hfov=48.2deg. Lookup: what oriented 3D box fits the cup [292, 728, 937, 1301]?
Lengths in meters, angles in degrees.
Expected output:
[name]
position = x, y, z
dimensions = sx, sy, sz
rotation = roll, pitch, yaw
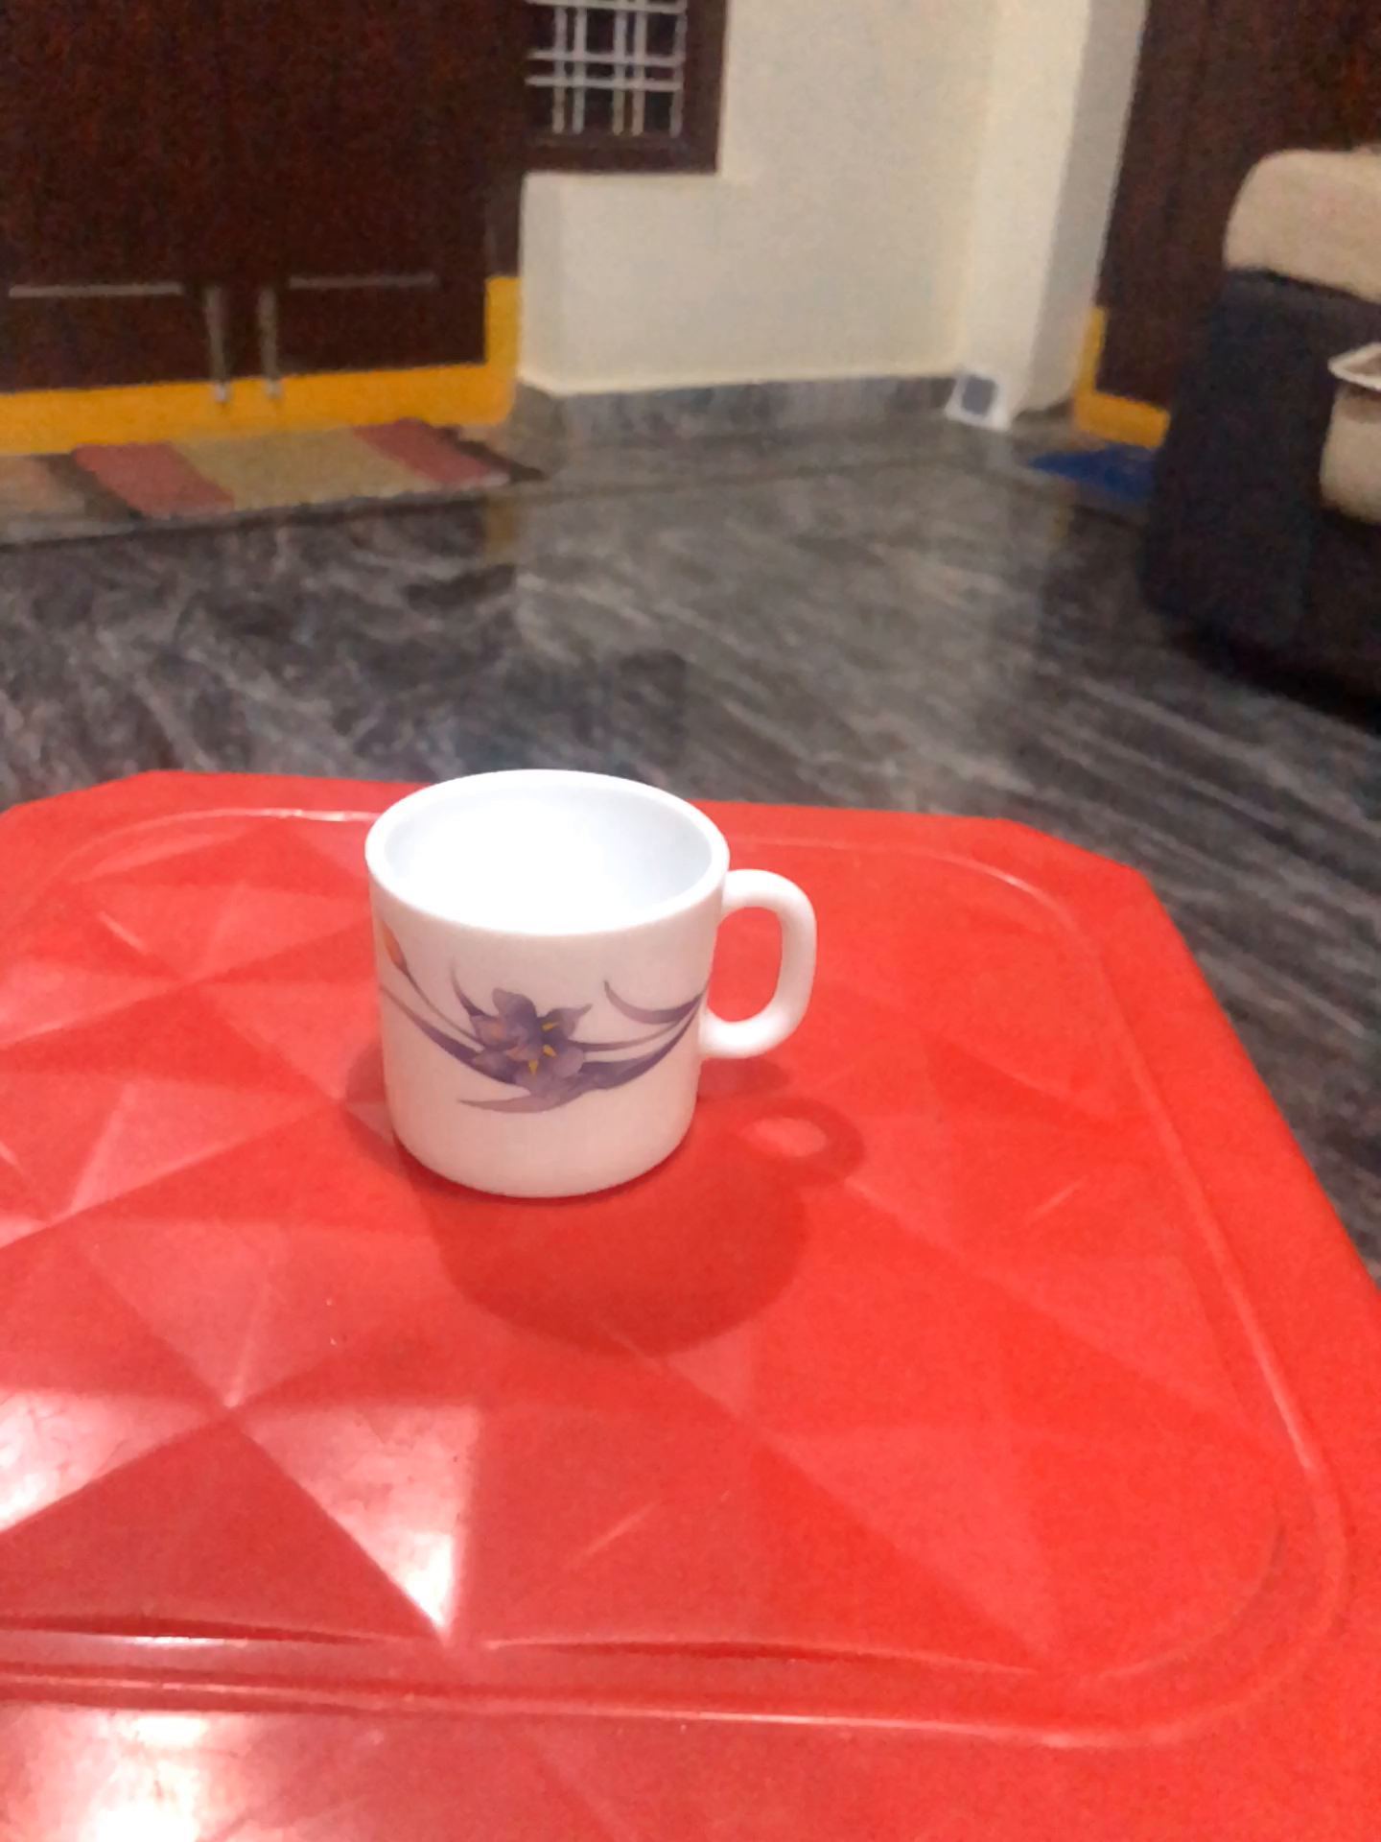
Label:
[cup]
position = -0.017, 0.011, 0.279
dimensions = 0.090, 0.060, 0.070
rotation = -10, 32, -24
